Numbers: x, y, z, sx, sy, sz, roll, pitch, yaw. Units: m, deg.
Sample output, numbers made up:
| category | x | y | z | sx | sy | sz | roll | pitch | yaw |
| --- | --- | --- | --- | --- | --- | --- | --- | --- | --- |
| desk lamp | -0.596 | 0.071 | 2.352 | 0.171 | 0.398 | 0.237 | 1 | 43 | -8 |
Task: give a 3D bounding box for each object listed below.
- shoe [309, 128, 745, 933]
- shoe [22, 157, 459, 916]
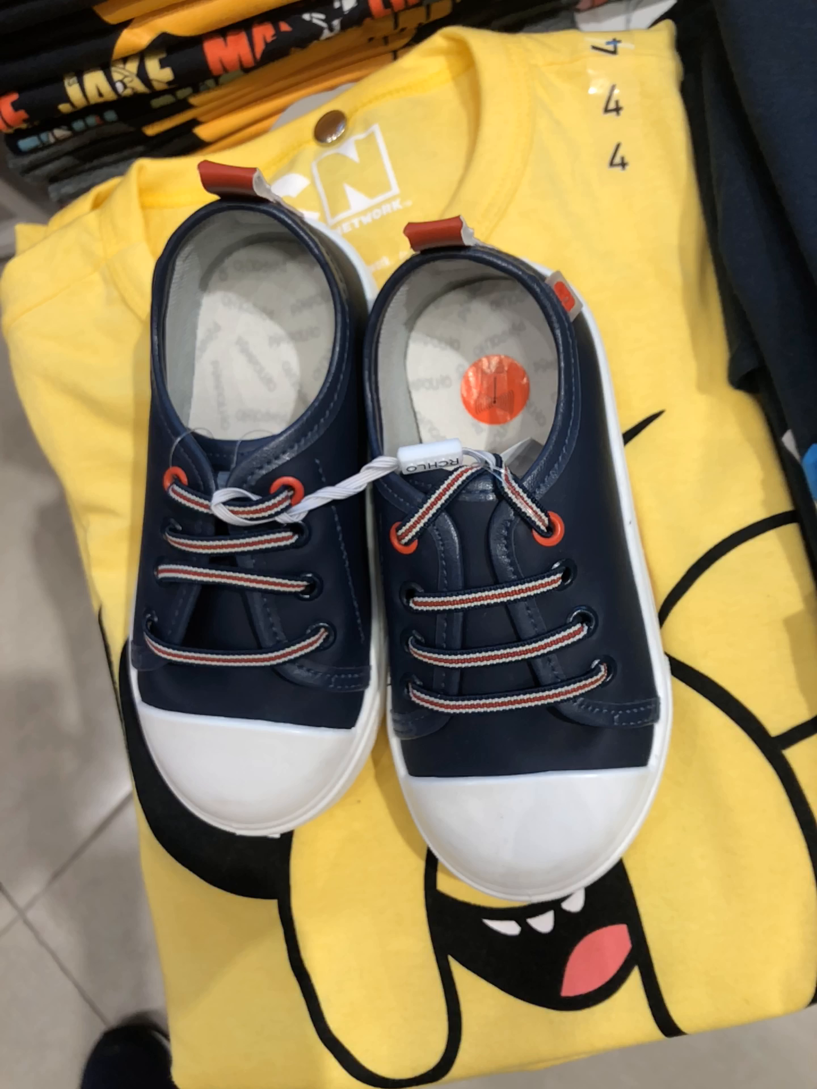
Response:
| category | x | y | z | sx | sy | sz | roll | pitch | yaw |
| --- | --- | --- | --- | --- | --- | --- | --- | --- | --- |
| shoe | 0.031 | 0.000 | 0.235 | 0.080 | 0.070 | 0.170 | -5 | 92 | 11 |
| shoe | -0.038 | -0.005 | 0.235 | 0.080 | 0.070 | 0.160 | 5 | 93 | 12 |
